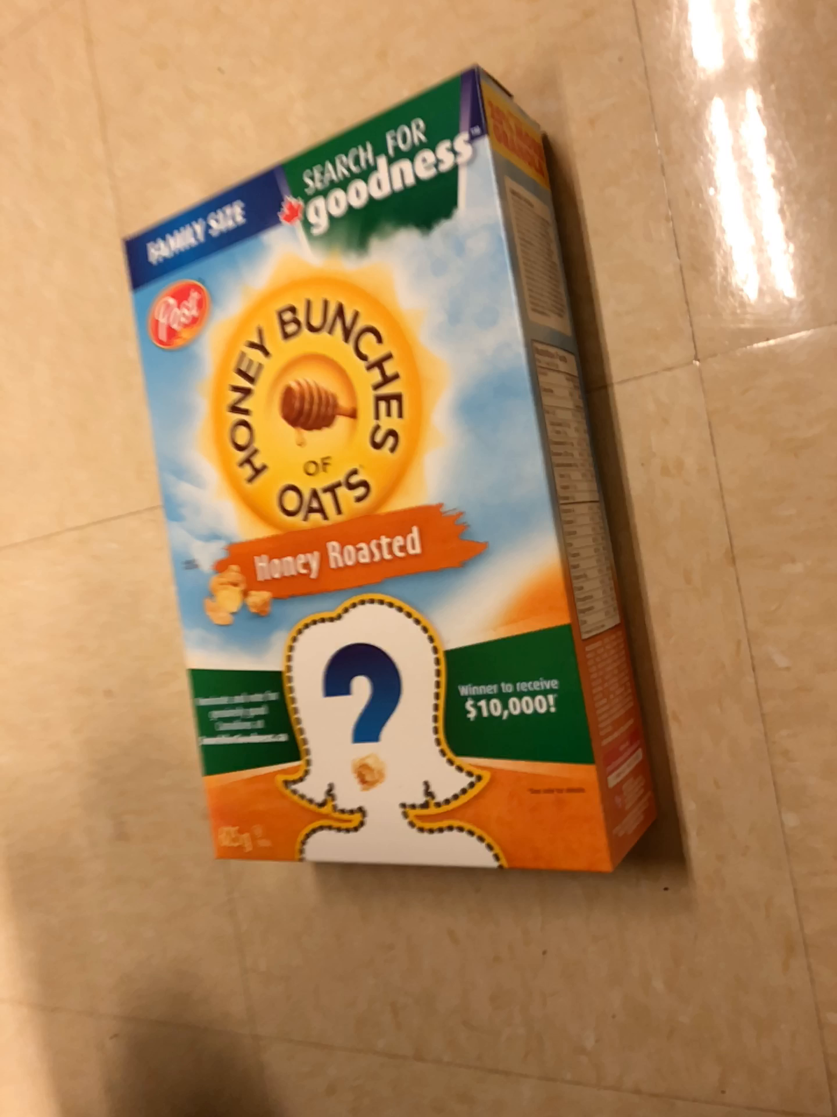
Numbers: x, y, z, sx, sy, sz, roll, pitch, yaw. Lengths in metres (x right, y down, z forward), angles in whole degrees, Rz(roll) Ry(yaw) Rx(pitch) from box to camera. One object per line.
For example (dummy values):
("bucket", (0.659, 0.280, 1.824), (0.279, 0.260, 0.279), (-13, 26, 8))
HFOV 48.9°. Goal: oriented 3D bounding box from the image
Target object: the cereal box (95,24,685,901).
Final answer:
("cereal box", (-0.023, -0.022, 0.384), (0.211, 0.070, 0.290), (-9, 85, 31))
